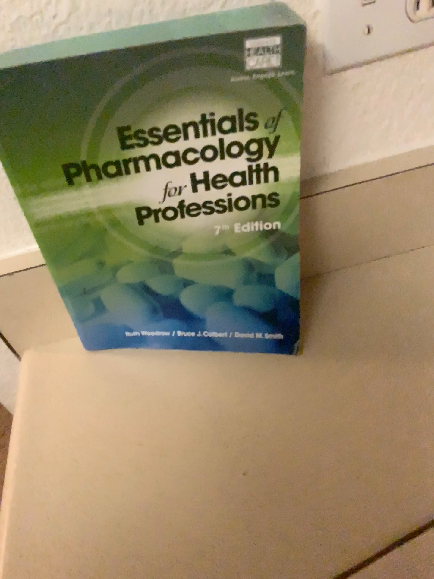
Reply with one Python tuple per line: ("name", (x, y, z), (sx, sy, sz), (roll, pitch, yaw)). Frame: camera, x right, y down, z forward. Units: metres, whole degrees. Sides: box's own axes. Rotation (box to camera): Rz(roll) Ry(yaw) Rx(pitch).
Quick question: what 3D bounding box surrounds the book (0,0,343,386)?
("book", (-0.038, -0.054, 0.379), (0.240, 0.270, 0.090), (-9, 44, 3))
